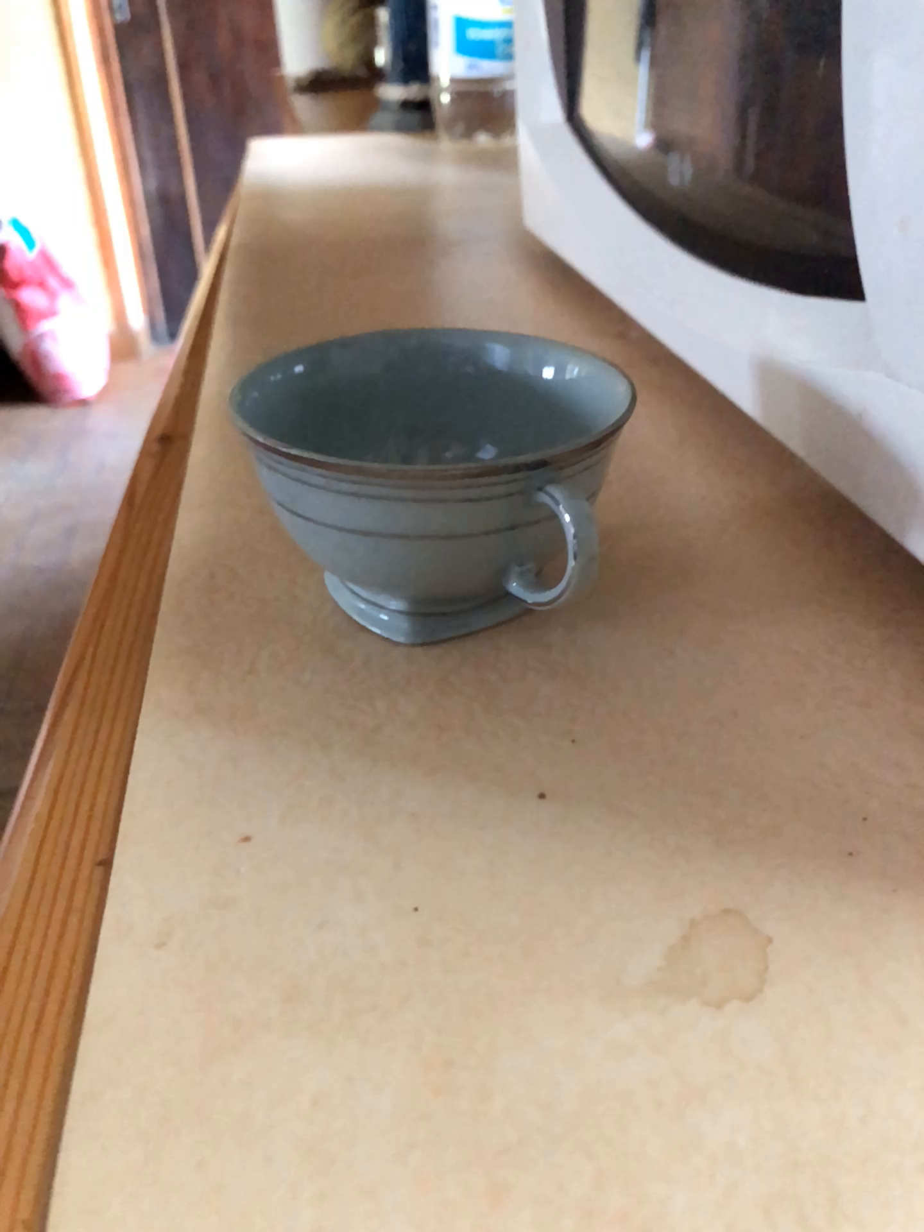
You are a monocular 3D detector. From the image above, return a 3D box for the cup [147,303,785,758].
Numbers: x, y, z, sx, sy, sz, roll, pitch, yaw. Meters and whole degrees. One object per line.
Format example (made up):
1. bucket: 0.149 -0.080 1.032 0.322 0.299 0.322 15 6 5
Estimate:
1. cup: -0.003 -0.027 0.212 0.080 0.040 0.100 -23 37 -31
